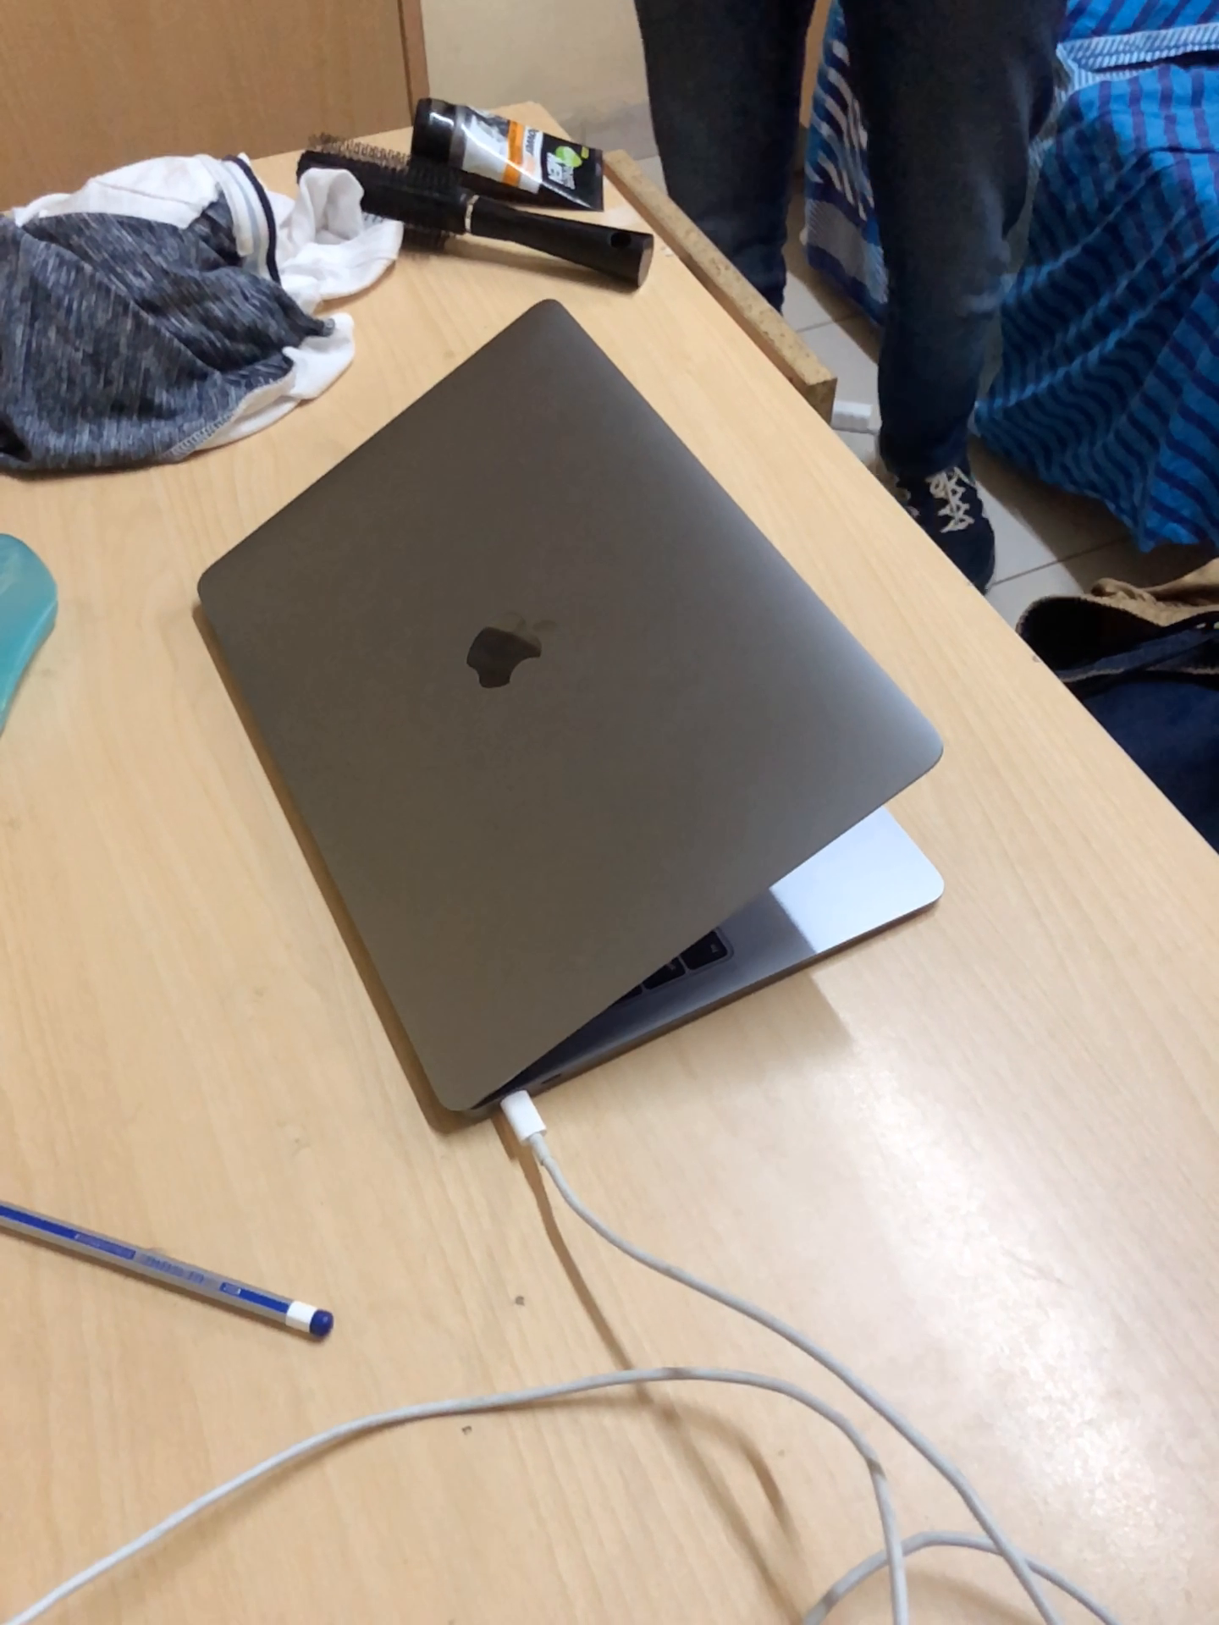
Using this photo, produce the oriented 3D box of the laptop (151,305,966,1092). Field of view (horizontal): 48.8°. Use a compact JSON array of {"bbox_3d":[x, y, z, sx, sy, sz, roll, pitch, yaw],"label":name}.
[{"bbox_3d":[-0.034,-0.067,0.543,0.193,0.094,0.295,-22,56,-18],"label":"laptop"}]
